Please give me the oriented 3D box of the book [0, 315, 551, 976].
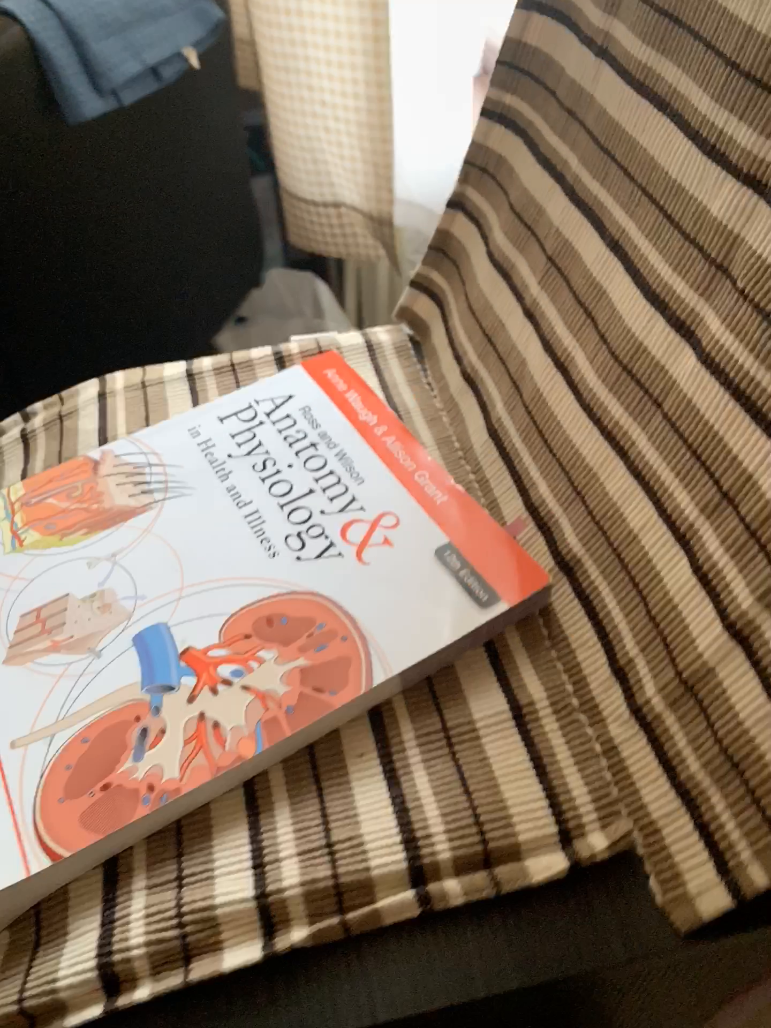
[{"bbox_3d":[-0.108,0.022,0.392,0.280,0.040,0.242,-26,51,-18],"label":"book"}]
